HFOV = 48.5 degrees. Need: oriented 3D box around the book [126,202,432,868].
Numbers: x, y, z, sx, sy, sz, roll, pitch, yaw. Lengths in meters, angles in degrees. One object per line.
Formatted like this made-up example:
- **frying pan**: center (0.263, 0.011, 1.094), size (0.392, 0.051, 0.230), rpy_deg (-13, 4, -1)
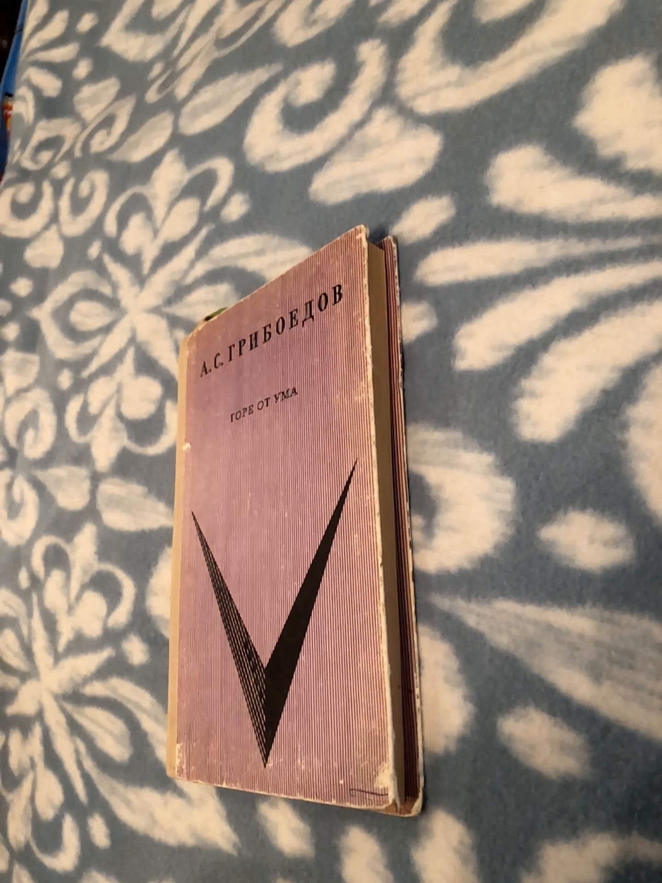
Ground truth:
- **book**: center (-0.032, 0.036, 0.301), size (0.158, 0.020, 0.217), rpy_deg (-19, 66, 46)
